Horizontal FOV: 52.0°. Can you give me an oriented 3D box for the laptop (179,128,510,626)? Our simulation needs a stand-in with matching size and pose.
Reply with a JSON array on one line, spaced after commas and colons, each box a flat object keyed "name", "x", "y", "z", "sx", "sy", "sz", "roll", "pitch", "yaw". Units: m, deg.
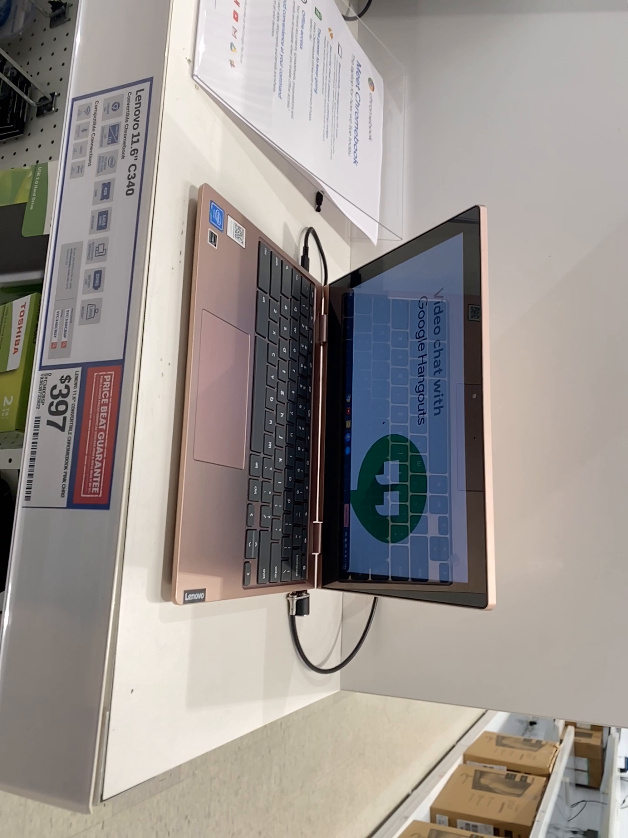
[{"name": "laptop", "x": 0.039, "y": -0.009, "z": 0.474, "sx": 0.197, "sy": 0.168, "sz": 0.280, "roll": 22, "pitch": 67, "yaw": -63}]

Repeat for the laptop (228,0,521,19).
[{"name": "laptop", "x": 0.080, "y": -0.642, "z": 0.621, "sx": 0.266, "sy": 0.192, "sz": 0.310, "roll": 24, "pitch": 66, "yaw": -63}]
